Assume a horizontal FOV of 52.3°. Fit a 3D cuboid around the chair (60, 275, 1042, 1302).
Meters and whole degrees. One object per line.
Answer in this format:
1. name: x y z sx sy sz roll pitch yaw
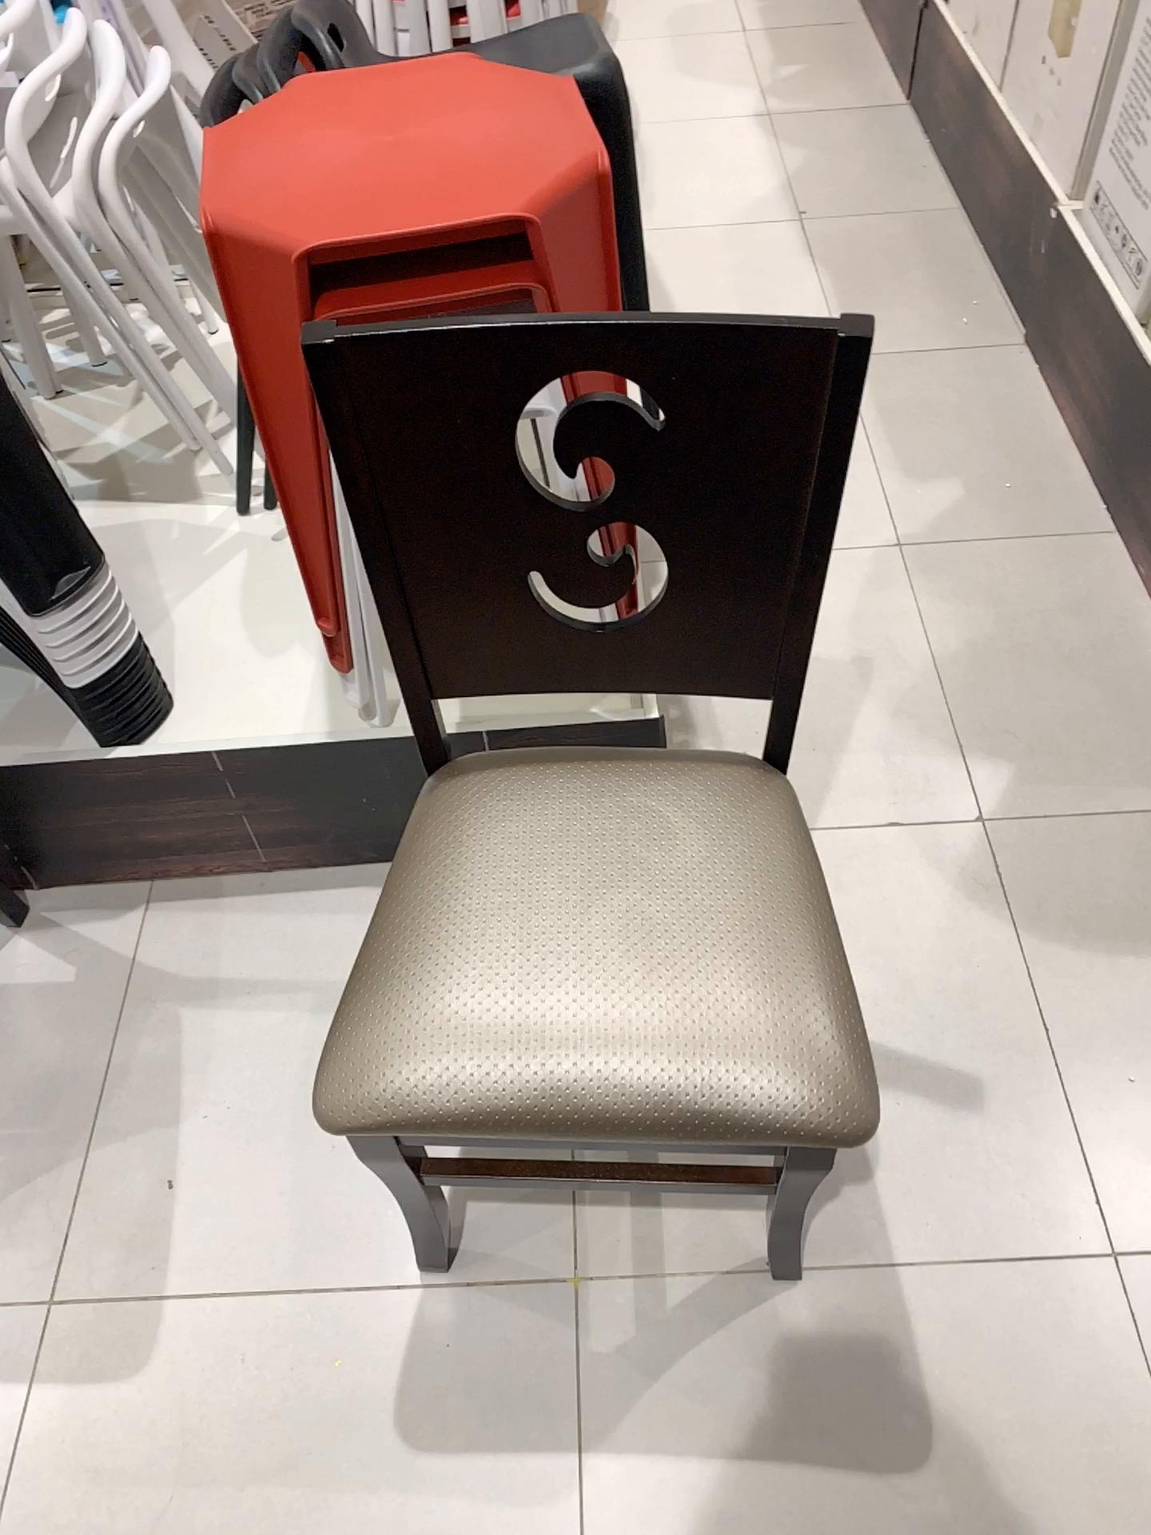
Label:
1. chair: 0.000 0.090 1.088 0.500 0.847 0.522 -2 50 2
